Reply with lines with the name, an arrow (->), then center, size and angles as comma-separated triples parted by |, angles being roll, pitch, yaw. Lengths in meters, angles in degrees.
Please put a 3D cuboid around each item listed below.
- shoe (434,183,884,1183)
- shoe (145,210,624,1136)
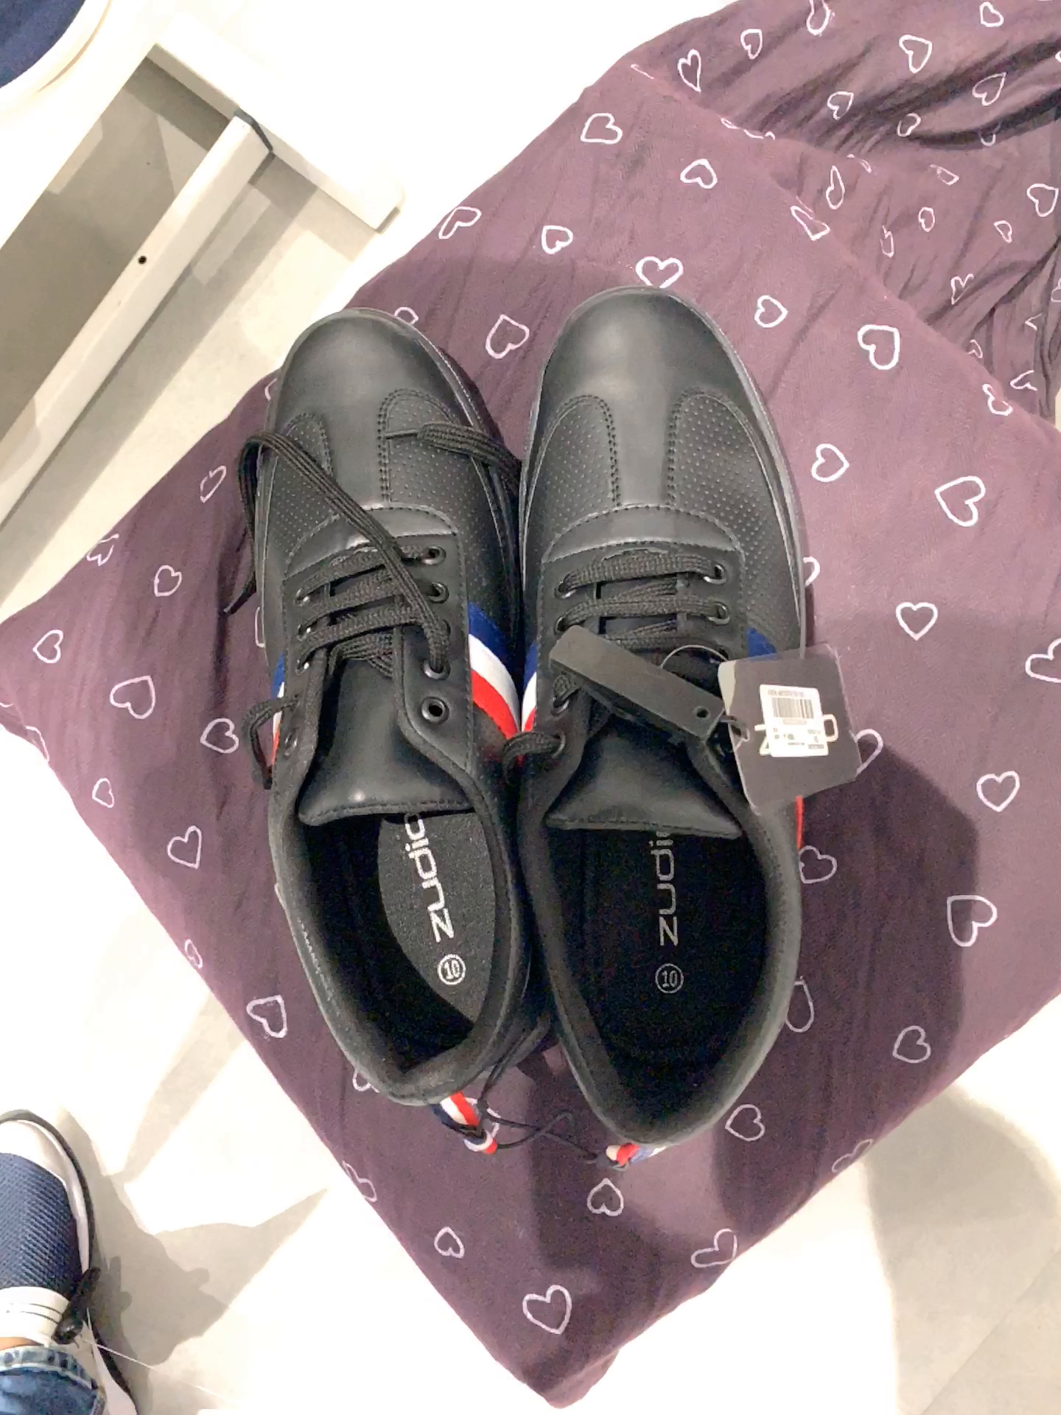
shoe -> 0.040, -0.008, 0.373 | 0.110, 0.080, 0.300 | -6, 82, 10
shoe -> -0.054, -0.012, 0.424 | 0.120, 0.090, 0.310 | -11, 81, 9
